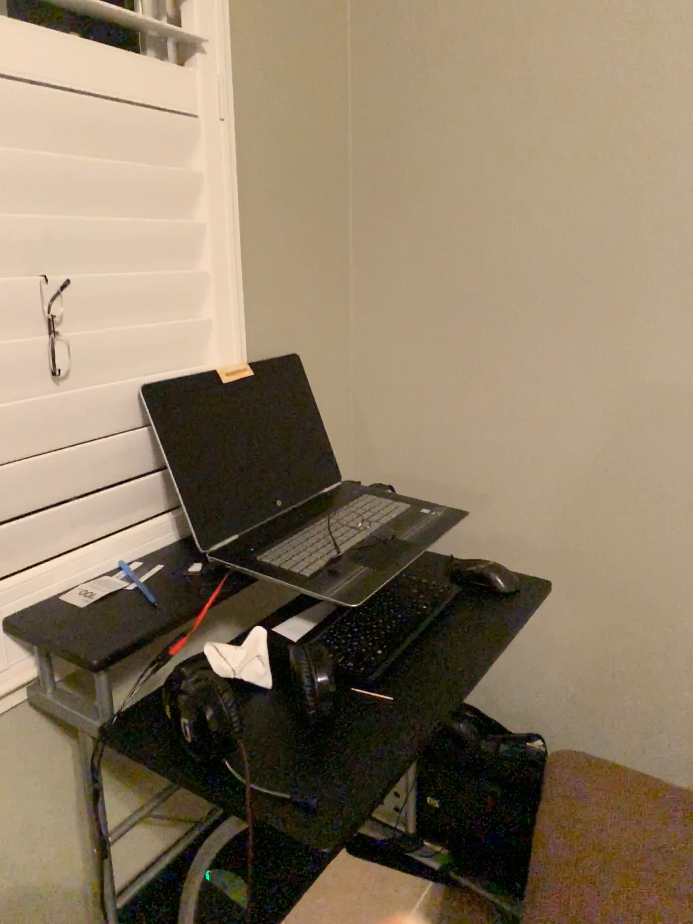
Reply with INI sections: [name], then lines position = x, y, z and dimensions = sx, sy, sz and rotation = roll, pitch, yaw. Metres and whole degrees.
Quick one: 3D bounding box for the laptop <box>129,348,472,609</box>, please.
[laptop]
position = -0.059, -0.016, 1.258
dimensions = 0.418, 0.264, 0.434
rotation = 12, 20, 29
